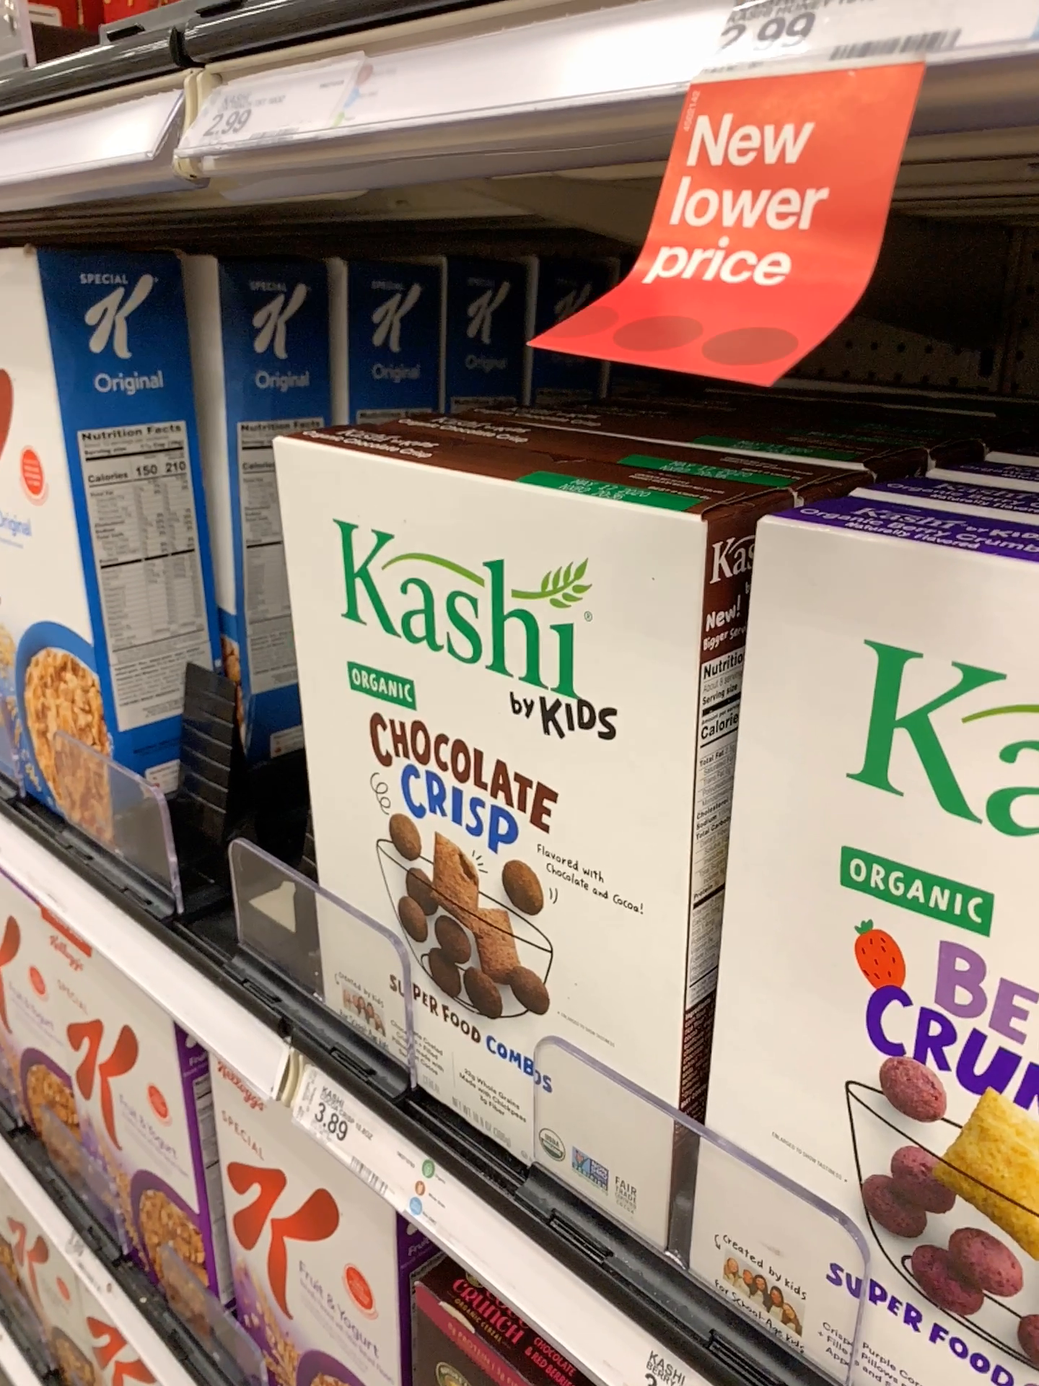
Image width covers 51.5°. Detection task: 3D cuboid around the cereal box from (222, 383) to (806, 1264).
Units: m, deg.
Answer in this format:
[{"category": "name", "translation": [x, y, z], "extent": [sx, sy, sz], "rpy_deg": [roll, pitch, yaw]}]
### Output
[{"category": "cereal box", "translation": [-0.013, 0.032, 0.389], "extent": [0.201, 0.259, 0.060], "rpy_deg": [19, 29, 40]}]
